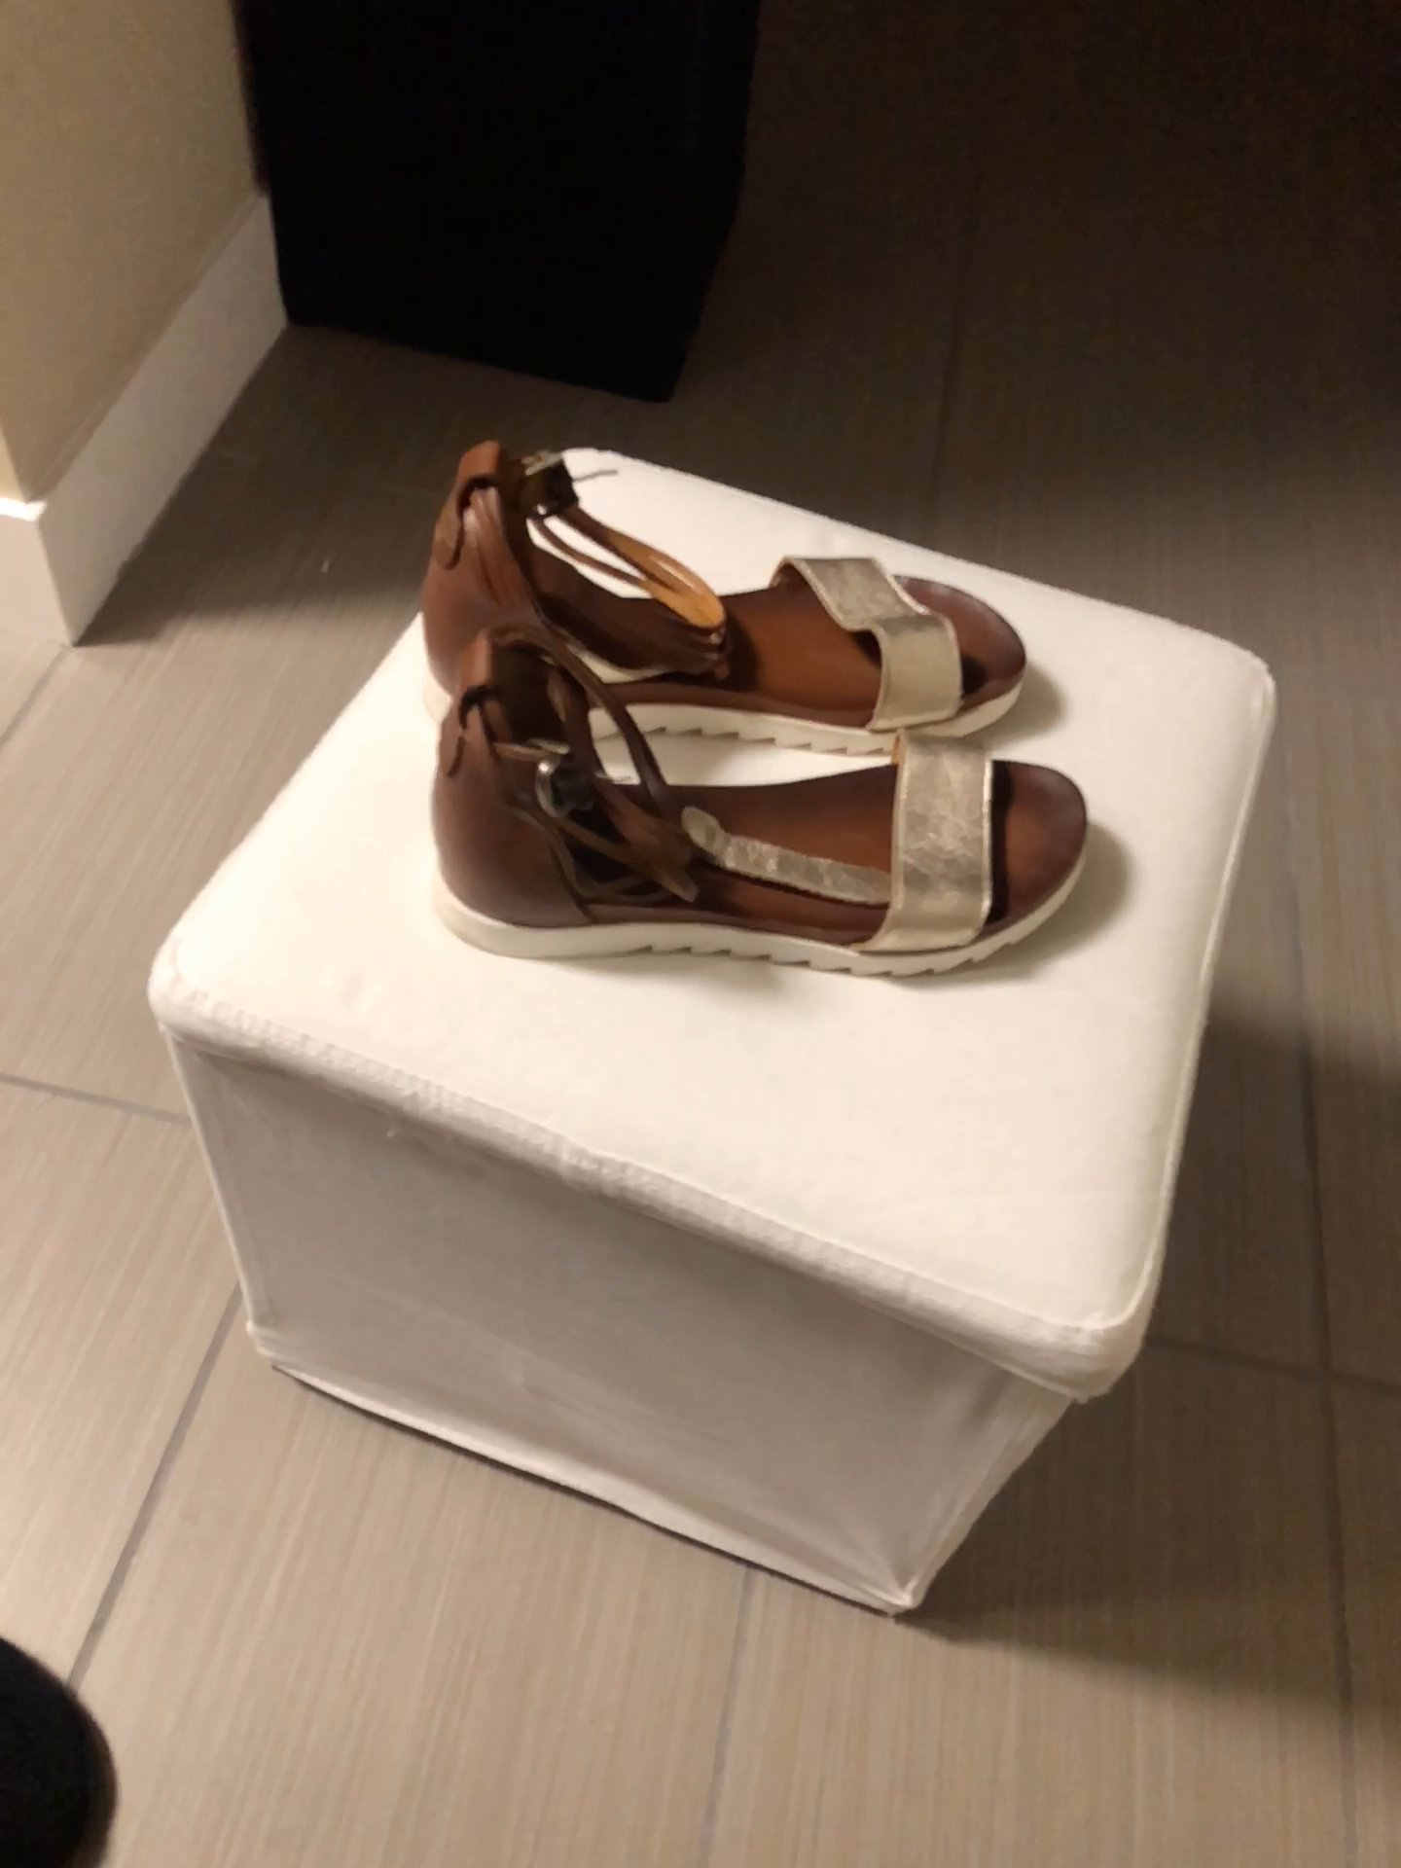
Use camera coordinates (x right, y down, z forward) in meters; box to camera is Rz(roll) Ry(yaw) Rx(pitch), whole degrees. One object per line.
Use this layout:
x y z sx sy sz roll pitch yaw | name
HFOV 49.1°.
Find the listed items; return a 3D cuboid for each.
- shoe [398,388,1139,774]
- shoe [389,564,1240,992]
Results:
0.018 -0.135 0.599 0.260 0.090 0.110 0 53 -8 | shoe
0.030 -0.052 0.528 0.260 0.090 0.110 0 53 -8 | shoe
